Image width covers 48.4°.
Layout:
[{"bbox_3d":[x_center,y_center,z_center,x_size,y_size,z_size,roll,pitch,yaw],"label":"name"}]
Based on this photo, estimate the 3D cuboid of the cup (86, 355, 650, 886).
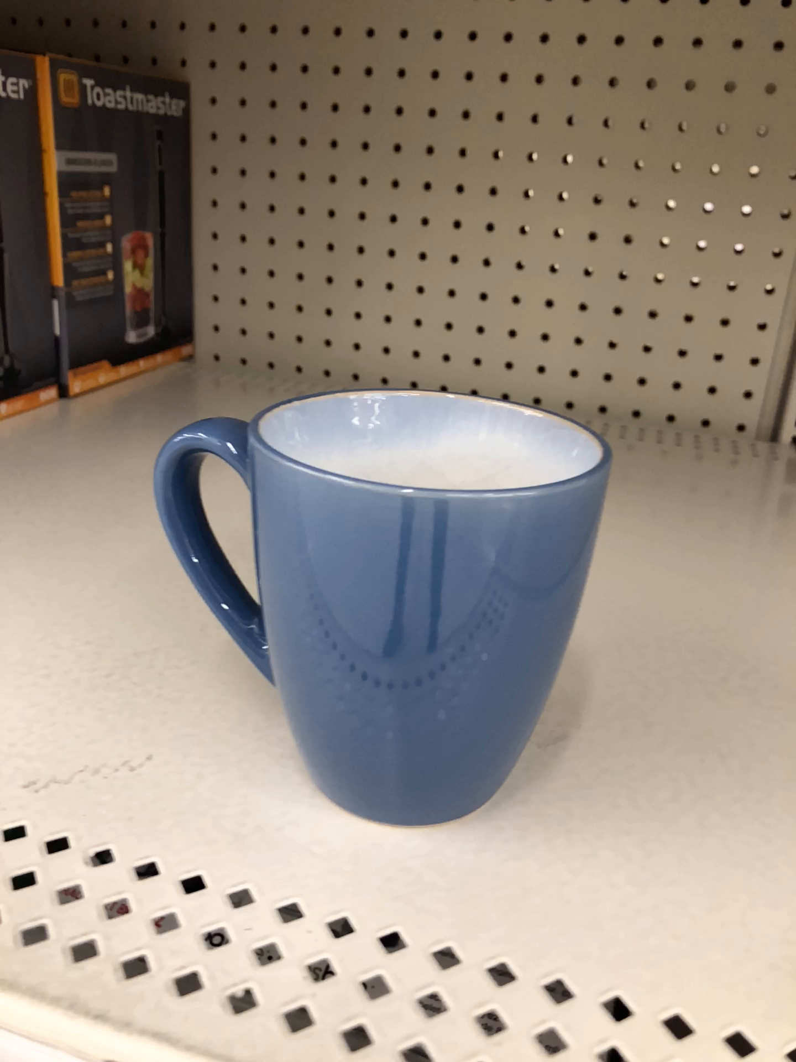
[{"bbox_3d":[-0.003,0.013,0.258,0.127,0.098,0.097,10,23,16],"label":"cup"}]
